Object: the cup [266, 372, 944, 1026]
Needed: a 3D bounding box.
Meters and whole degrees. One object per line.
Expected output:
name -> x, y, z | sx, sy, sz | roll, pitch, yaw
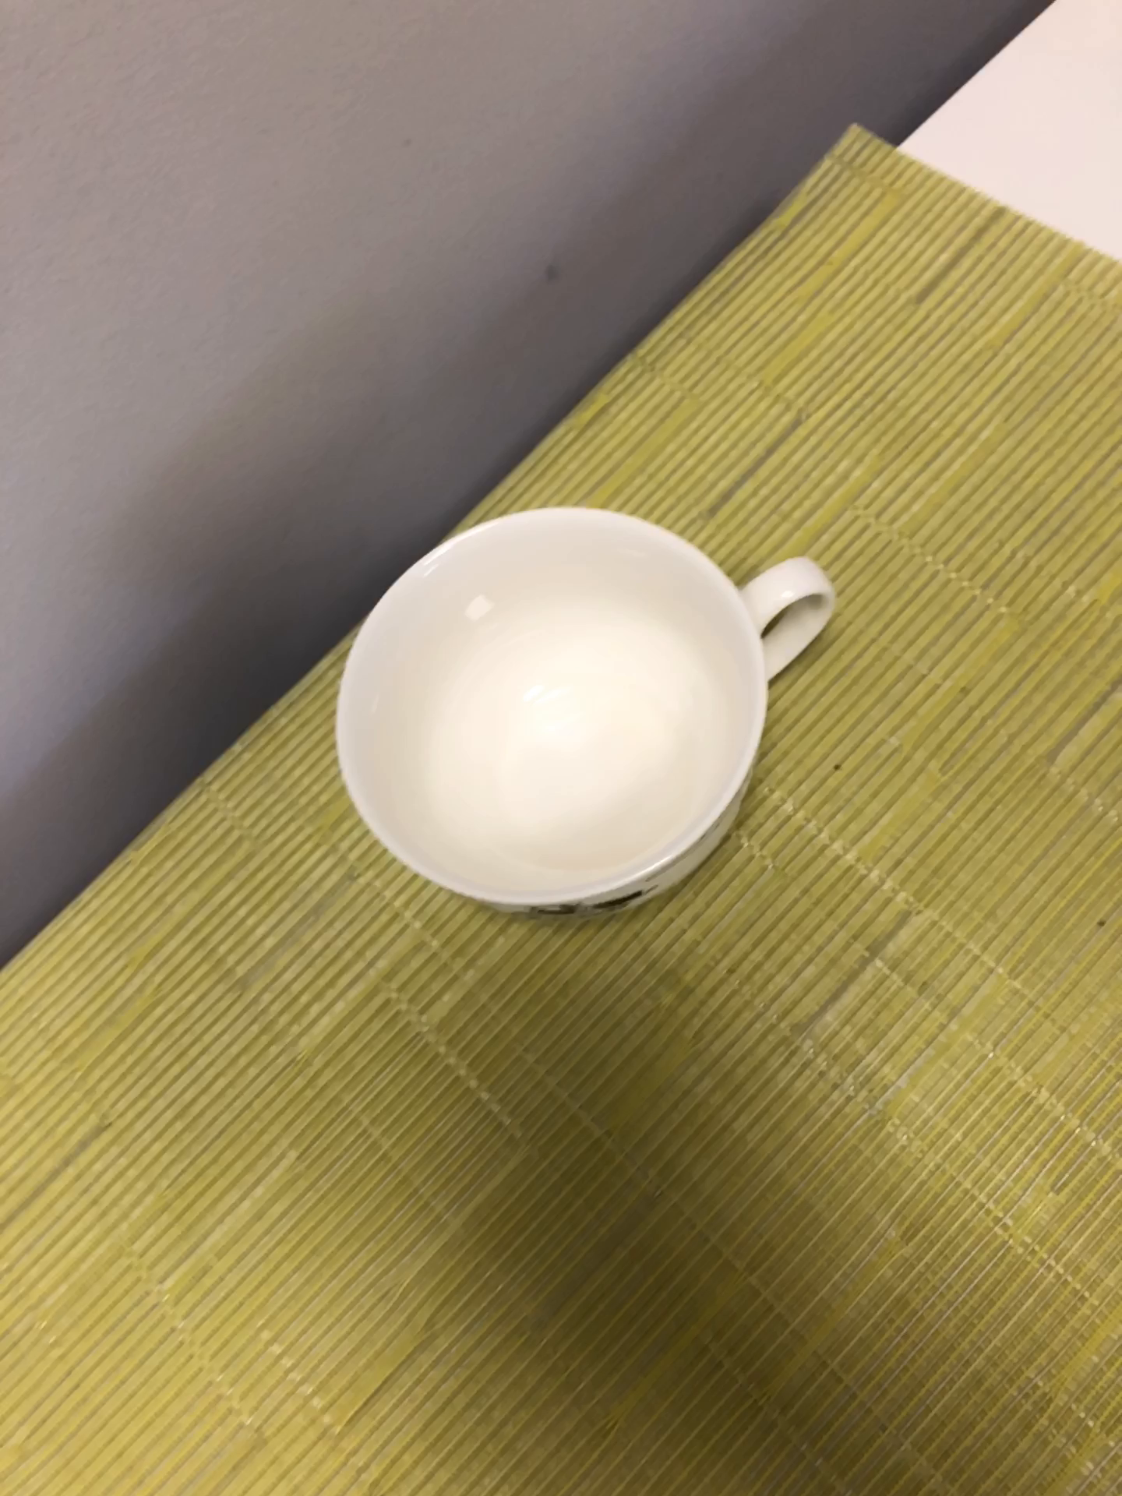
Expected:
cup -> 0.010, -0.010, 0.283 | 0.113, 0.051, 0.089 | -33, 65, -1
